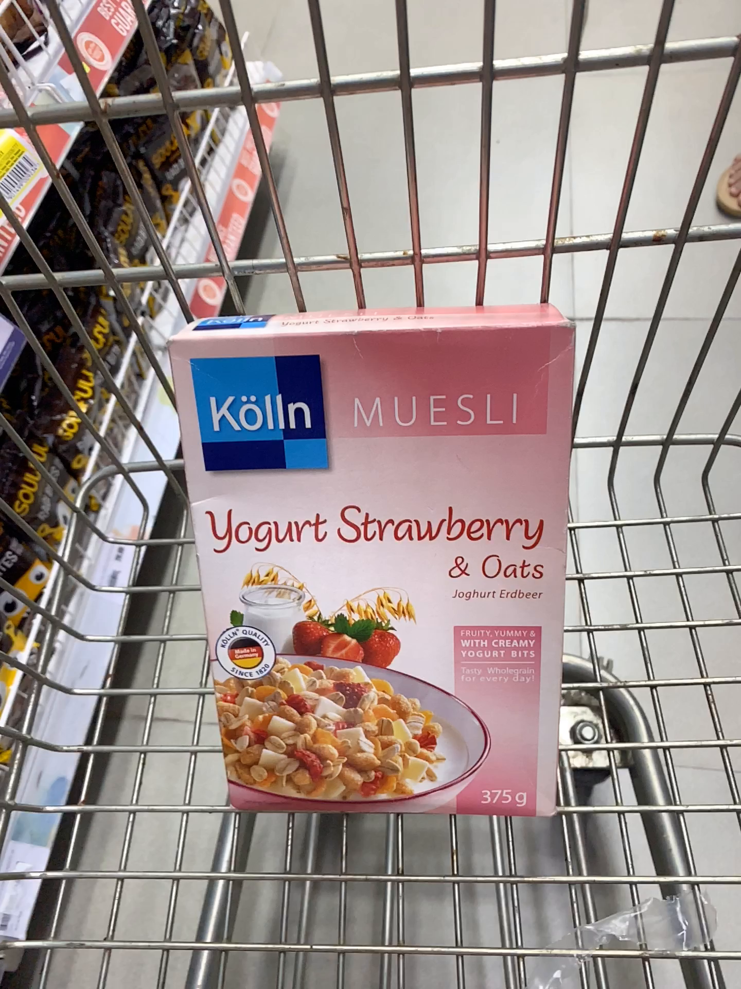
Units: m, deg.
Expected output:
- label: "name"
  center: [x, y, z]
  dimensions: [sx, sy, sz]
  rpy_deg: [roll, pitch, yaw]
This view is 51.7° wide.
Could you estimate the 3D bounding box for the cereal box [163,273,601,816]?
- label: "cereal box"
  center: [0.010, 0.027, 0.321]
  dimensions: [0.150, 0.220, 0.050]
  rpy_deg: [-1, 19, 6]
